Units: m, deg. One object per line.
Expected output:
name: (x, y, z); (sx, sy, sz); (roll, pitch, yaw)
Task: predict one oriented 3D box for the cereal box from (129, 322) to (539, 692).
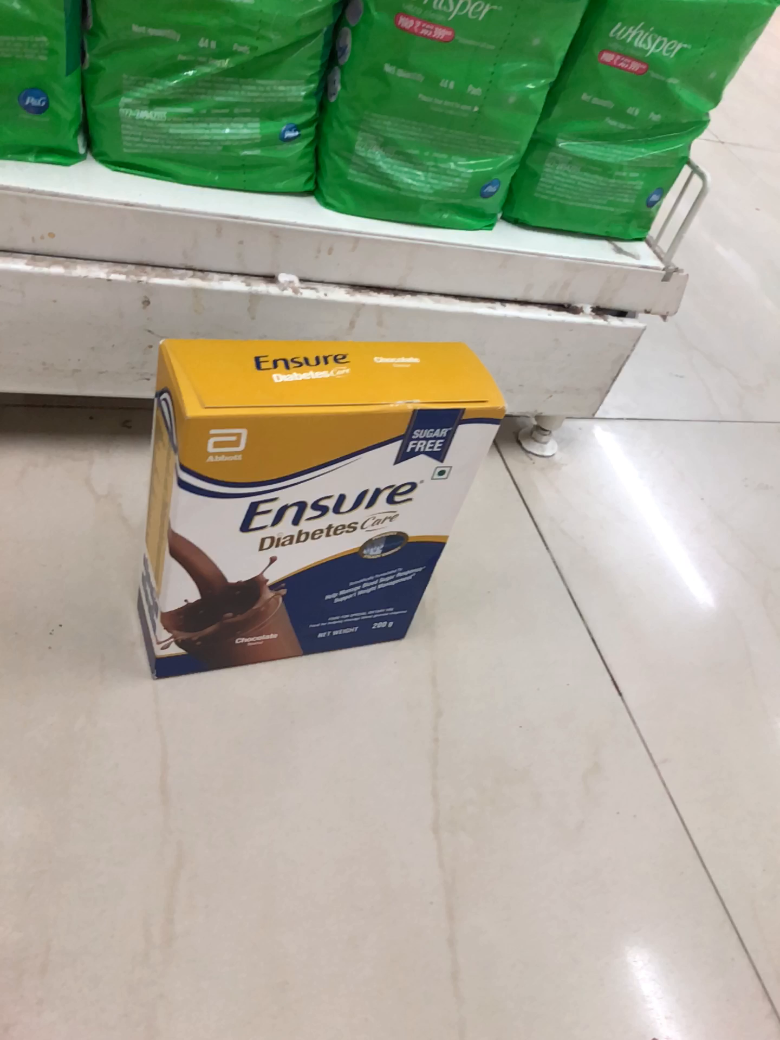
cereal box: (-0.035, -0.001, 0.383); (0.140, 0.169, 0.050); (-4, 49, -24)
